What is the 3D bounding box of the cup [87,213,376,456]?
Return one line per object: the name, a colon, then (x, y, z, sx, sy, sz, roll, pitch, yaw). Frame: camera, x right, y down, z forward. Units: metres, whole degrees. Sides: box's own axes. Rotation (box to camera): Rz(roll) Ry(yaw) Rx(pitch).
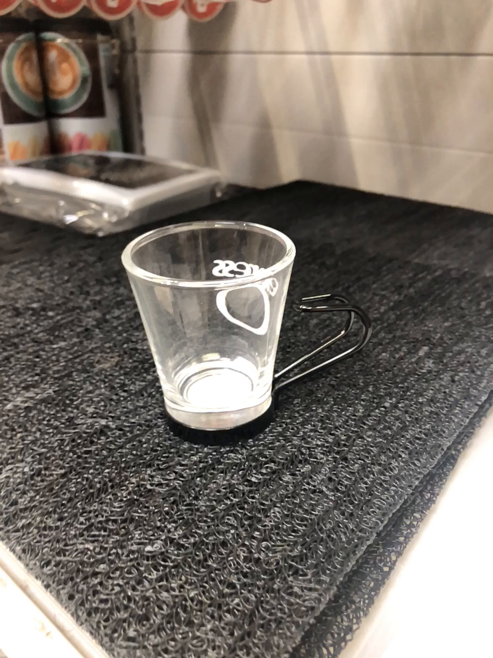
cup: (-0.008, -0.004, 0.209, 0.087, 0.059, 0.073, -5, 26, -8)
